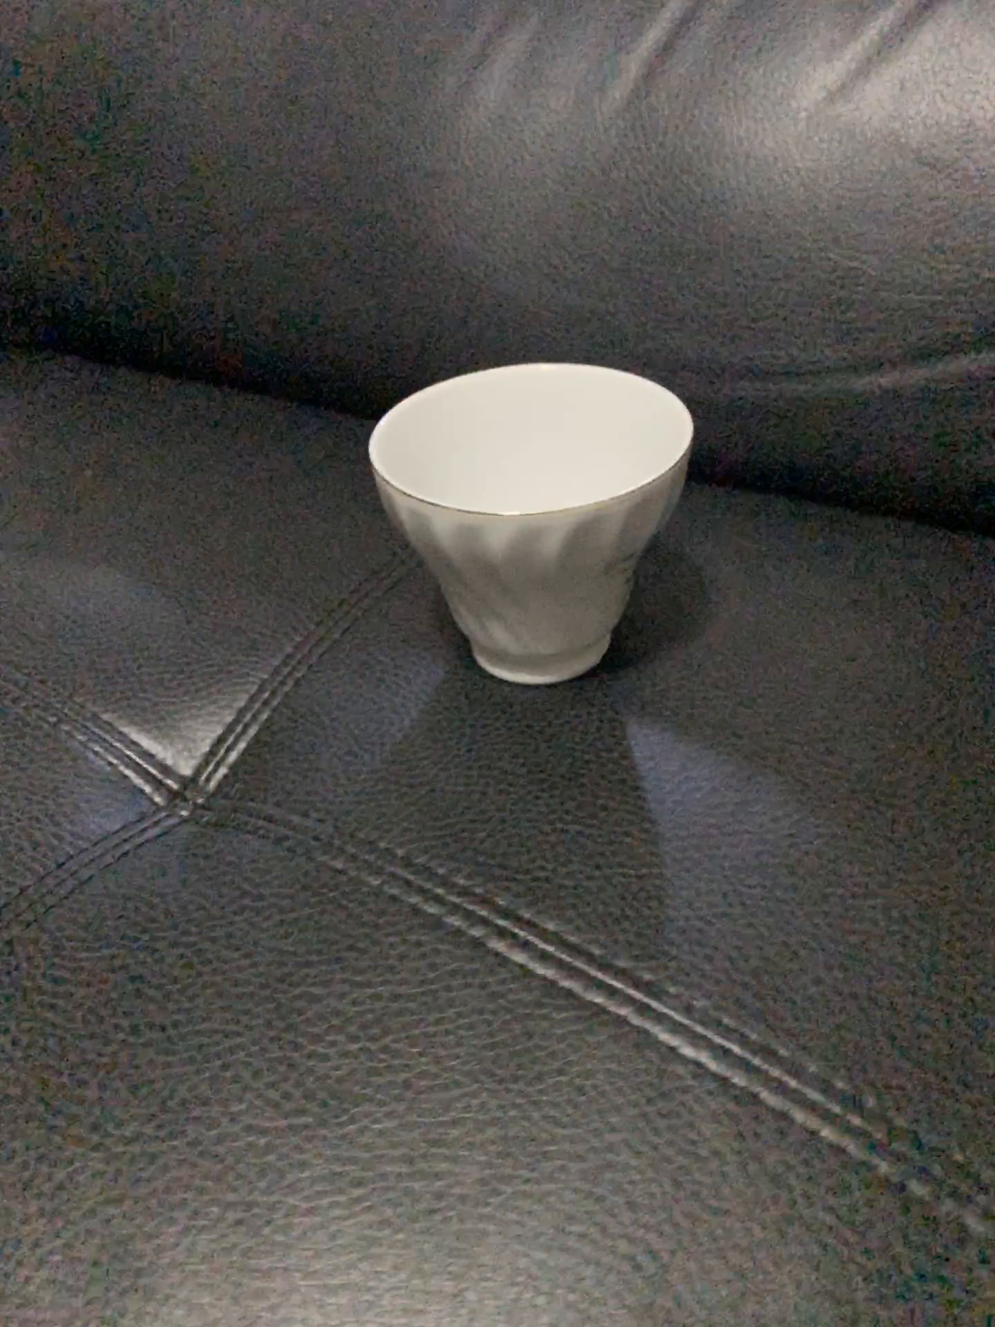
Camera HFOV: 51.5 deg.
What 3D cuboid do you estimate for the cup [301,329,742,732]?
[{"bbox_3d":[0.014,-0.047,0.303,0.093,0.059,0.114,9,38,15],"label":"cup"}]
